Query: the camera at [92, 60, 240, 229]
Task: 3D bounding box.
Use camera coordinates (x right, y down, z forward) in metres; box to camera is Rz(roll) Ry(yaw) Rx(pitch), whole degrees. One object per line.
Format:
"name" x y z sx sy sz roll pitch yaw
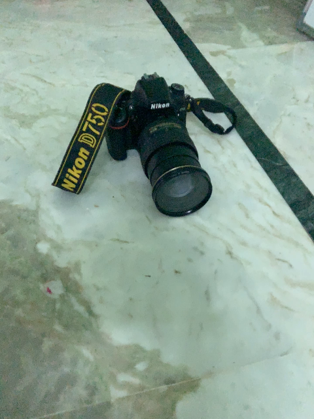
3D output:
"camera" -0.004 -0.105 0.450 0.139 0.100 0.233 -10 47 -8
